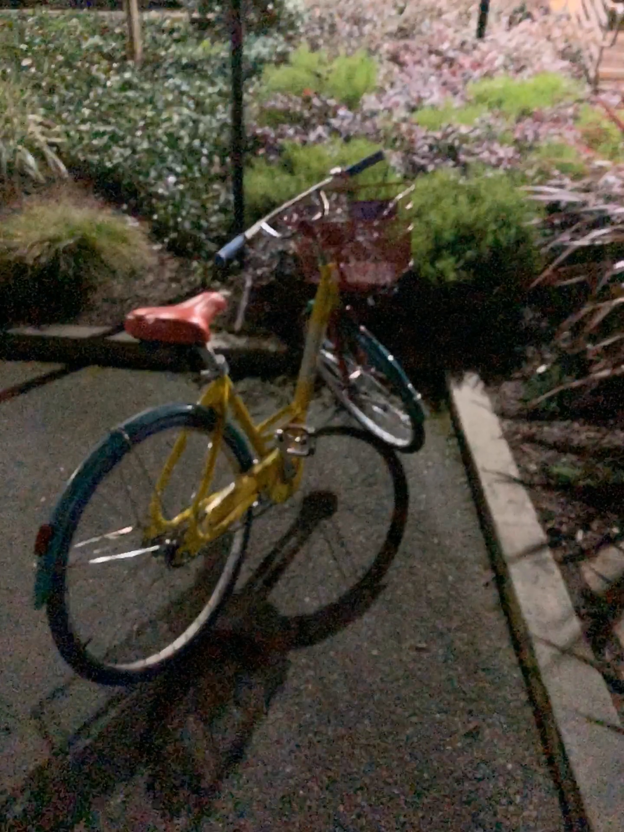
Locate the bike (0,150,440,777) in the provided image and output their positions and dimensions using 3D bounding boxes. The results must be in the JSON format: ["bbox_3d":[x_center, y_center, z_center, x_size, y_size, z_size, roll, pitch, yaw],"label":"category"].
[{"bbox_3d":[-0.189,-0.093,1.848,0.600,1.085,1.589,15,30,18],"label":"bike"}]
